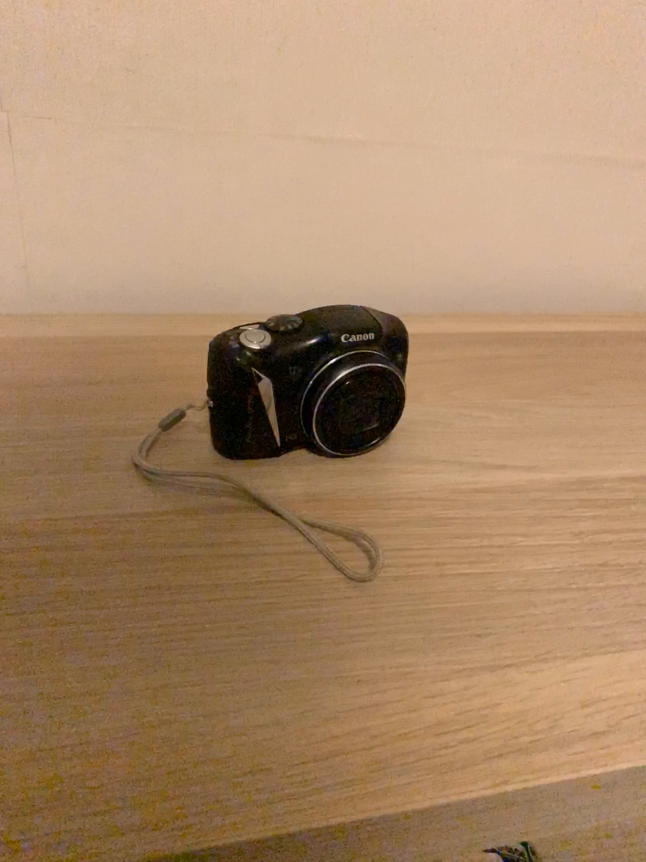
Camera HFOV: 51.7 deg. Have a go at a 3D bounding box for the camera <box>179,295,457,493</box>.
[{"bbox_3d":[-0.004,-0.025,0.344,0.120,0.059,0.069,-12,34,-28],"label":"camera"}]
